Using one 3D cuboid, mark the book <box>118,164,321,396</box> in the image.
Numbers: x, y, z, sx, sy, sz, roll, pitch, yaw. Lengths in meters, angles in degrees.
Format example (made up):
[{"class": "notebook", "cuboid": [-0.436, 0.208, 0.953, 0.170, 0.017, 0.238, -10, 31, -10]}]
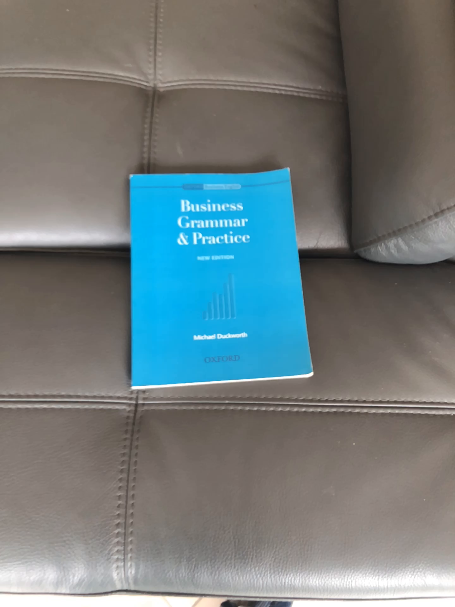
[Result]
[{"class": "book", "cuboid": [-0.016, -0.036, 0.627, 0.230, 0.020, 0.280, -4, 75, -2]}]
